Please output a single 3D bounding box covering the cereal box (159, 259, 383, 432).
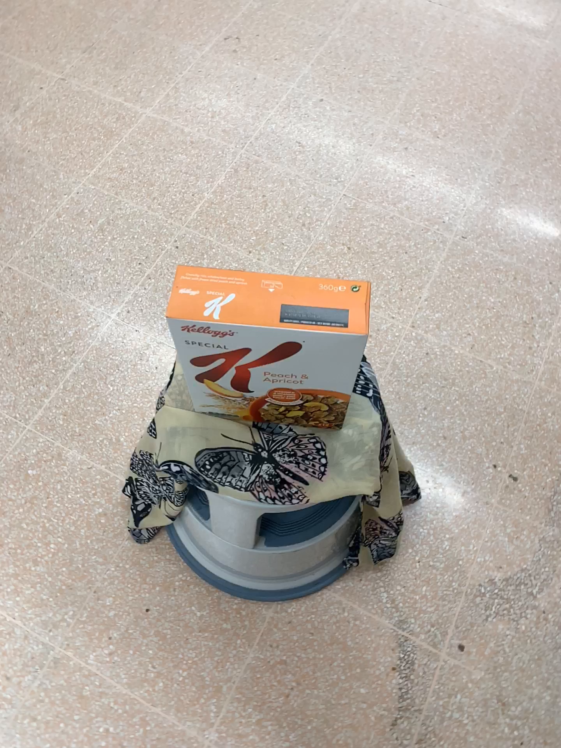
[{"bbox_3d":[-0.010,-0.018,0.670,0.210,0.269,0.060,6,64,1],"label":"cereal box"}]
